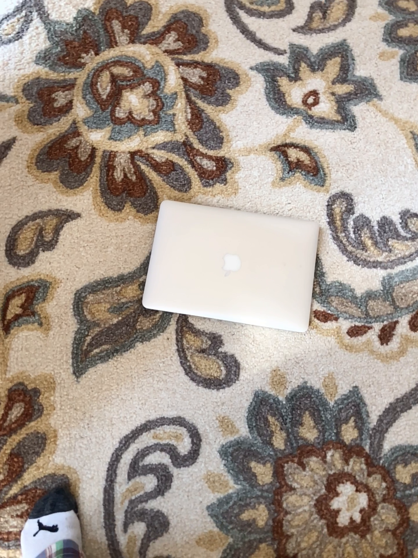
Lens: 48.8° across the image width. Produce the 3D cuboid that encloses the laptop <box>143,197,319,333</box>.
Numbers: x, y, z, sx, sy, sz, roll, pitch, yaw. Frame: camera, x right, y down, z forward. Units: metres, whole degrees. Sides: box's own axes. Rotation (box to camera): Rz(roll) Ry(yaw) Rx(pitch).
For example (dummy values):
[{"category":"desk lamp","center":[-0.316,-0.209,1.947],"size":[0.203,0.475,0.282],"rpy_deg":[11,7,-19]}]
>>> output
[{"category":"laptop","center":[0.043,-0.029,0.834],"size":[0.295,0.001,0.207],"rpy_deg":[9,77,1]}]
